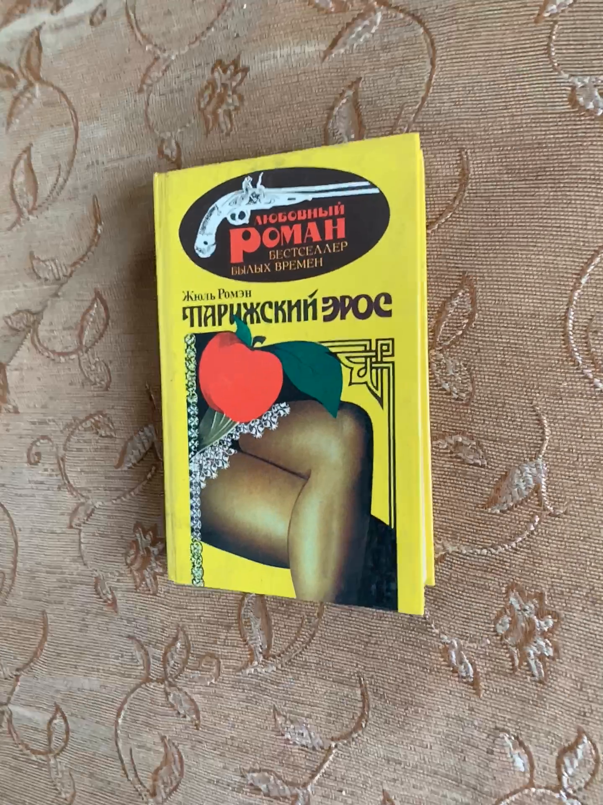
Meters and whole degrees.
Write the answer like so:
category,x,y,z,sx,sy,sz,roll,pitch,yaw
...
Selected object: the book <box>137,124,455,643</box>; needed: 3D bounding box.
category,x,y,z,sx,sy,sz,roll,pitch,yaw
book,-0.002,-0.006,0.277,0.130,0.040,0.196,0,94,21
